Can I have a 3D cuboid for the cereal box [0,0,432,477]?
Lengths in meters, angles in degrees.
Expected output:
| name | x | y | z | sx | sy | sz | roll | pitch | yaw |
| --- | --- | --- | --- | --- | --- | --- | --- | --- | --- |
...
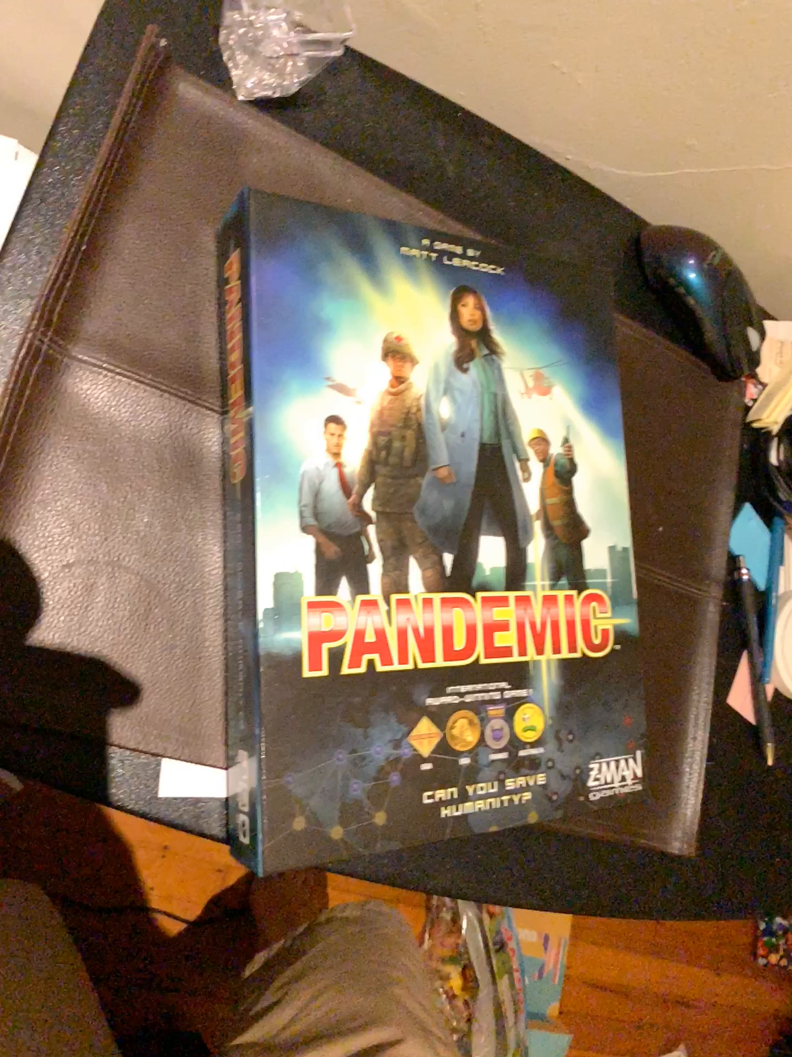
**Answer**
| name | x | y | z | sx | sy | sz | roll | pitch | yaw |
| --- | --- | --- | --- | --- | --- | --- | --- | --- | --- |
| cereal box | -0.495 | -0.485 | 1.033 | 0.471 | 0.998 | 0.510 | -33 | 98 | -27 |
